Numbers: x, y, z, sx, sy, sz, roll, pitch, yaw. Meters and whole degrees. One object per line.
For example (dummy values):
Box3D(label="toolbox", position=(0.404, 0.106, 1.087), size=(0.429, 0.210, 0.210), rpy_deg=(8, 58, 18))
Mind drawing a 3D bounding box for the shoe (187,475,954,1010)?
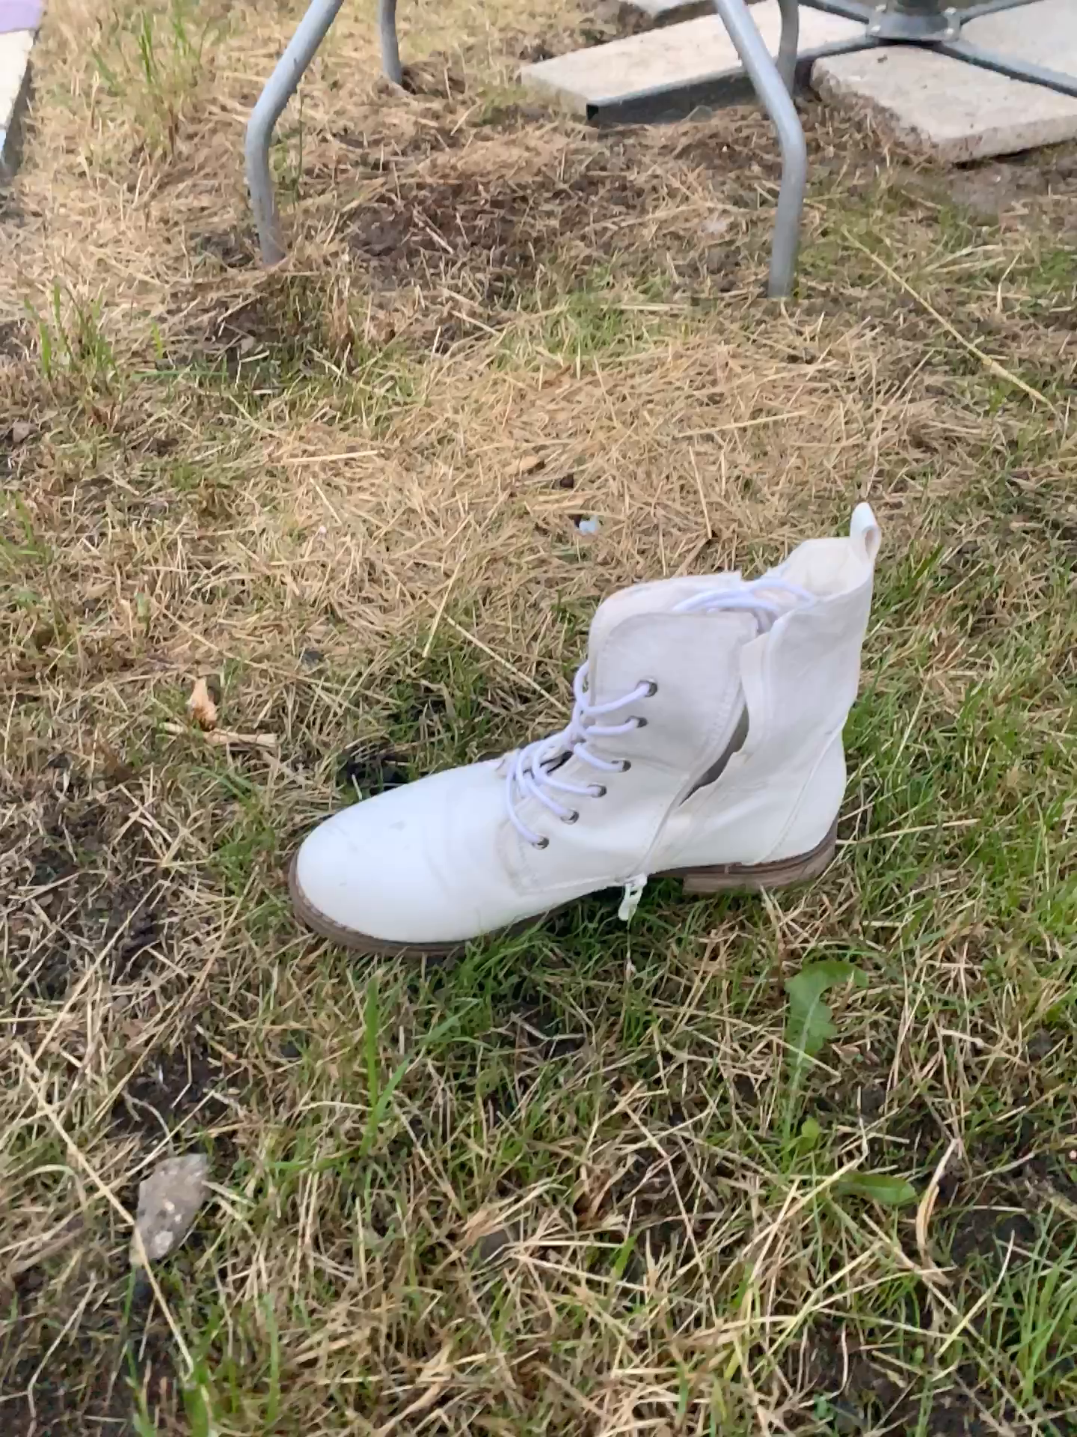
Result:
Box3D(label="shoe", position=(0.010, 0.014, 0.466), size=(0.260, 0.178, 0.101), rpy_deg=(-7, 45, -5))
